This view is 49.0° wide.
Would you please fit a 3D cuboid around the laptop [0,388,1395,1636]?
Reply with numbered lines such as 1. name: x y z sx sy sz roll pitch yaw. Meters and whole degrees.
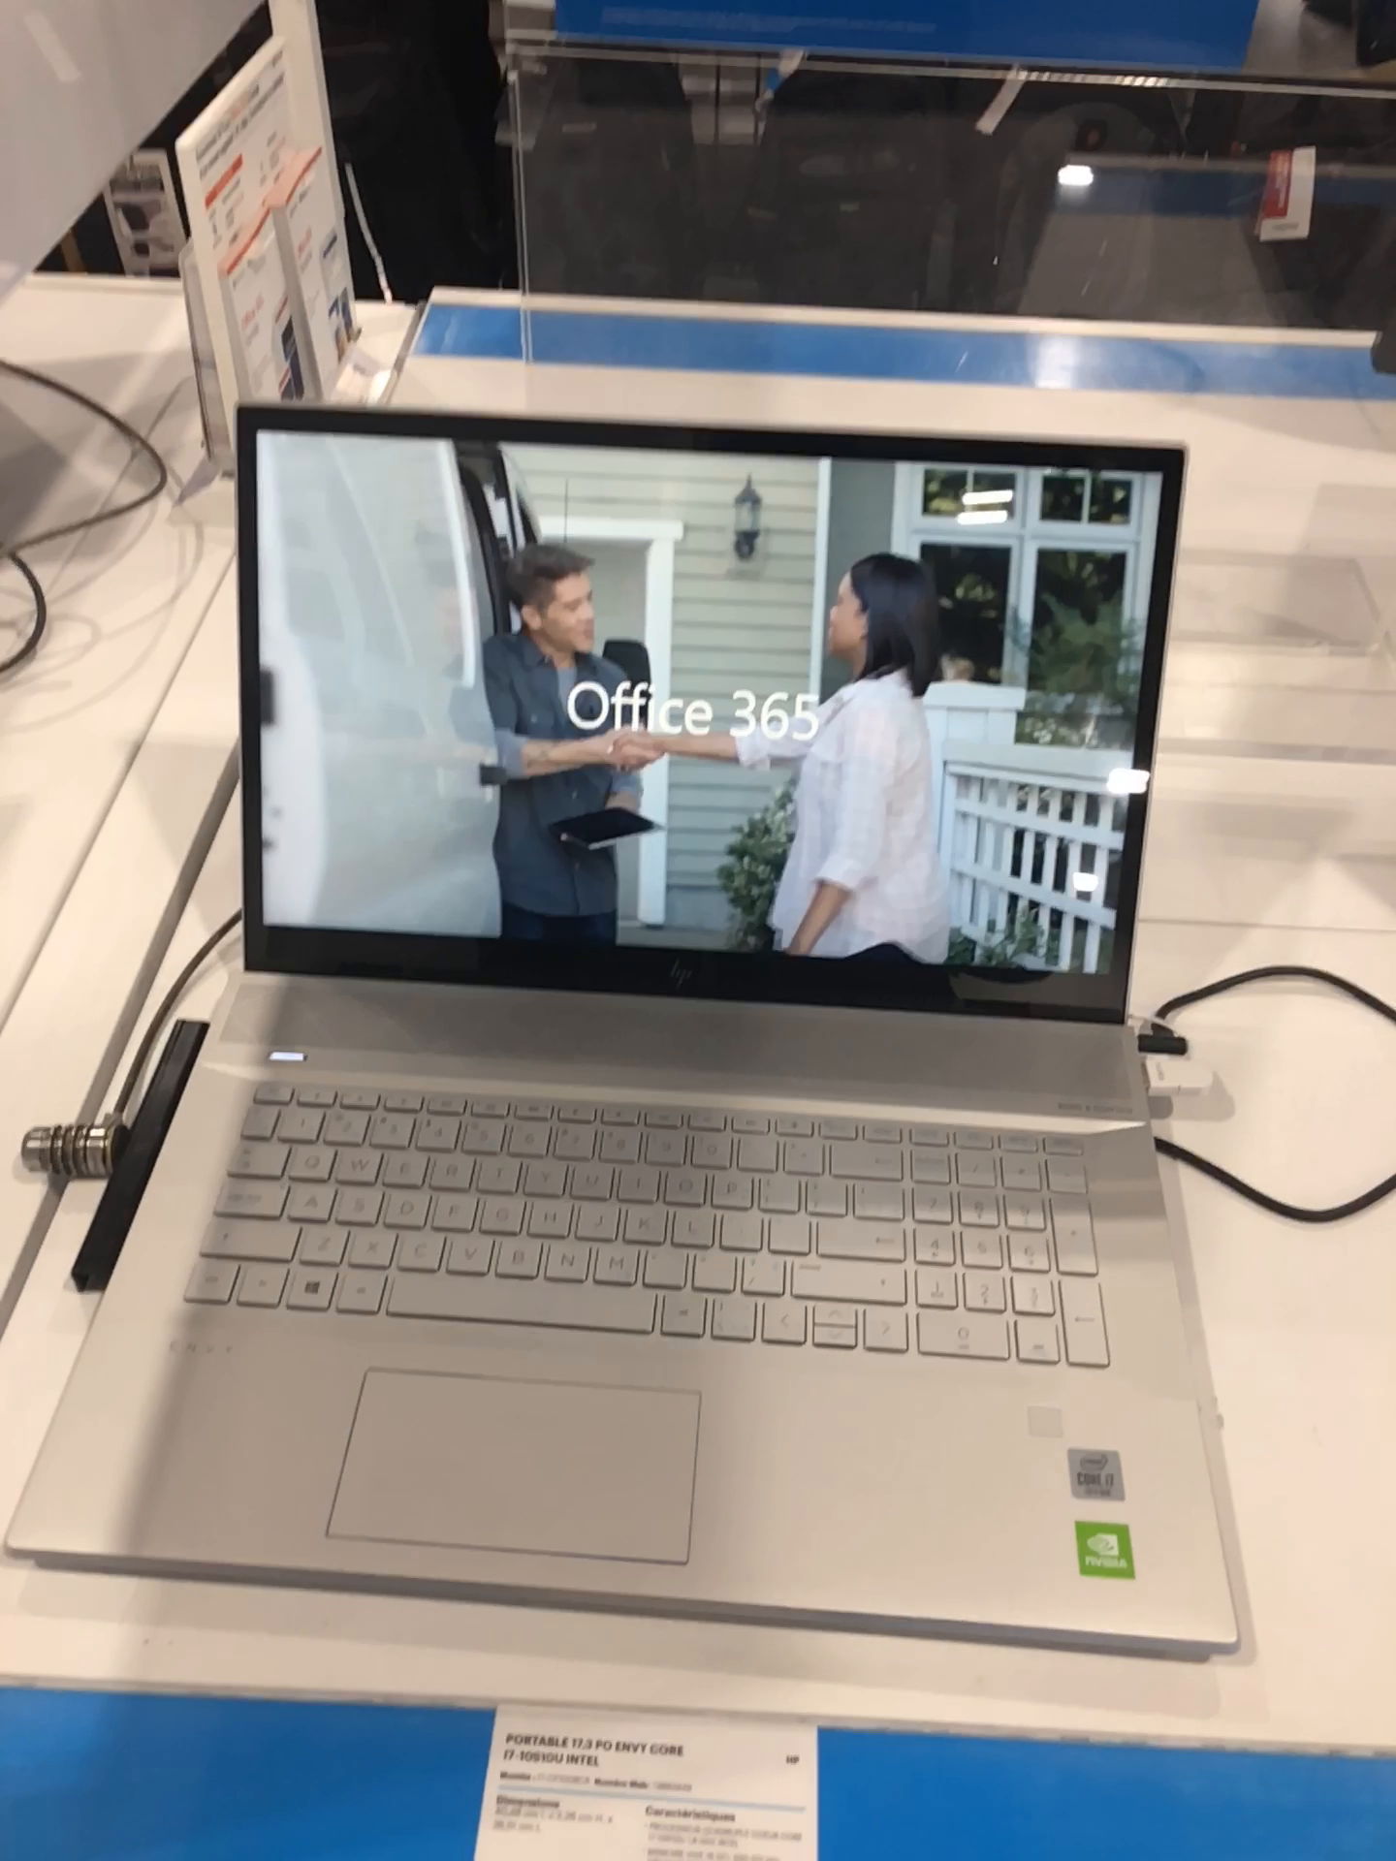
1. laptop: -0.014 -0.002 0.564 0.390 0.199 0.399 4 44 1
